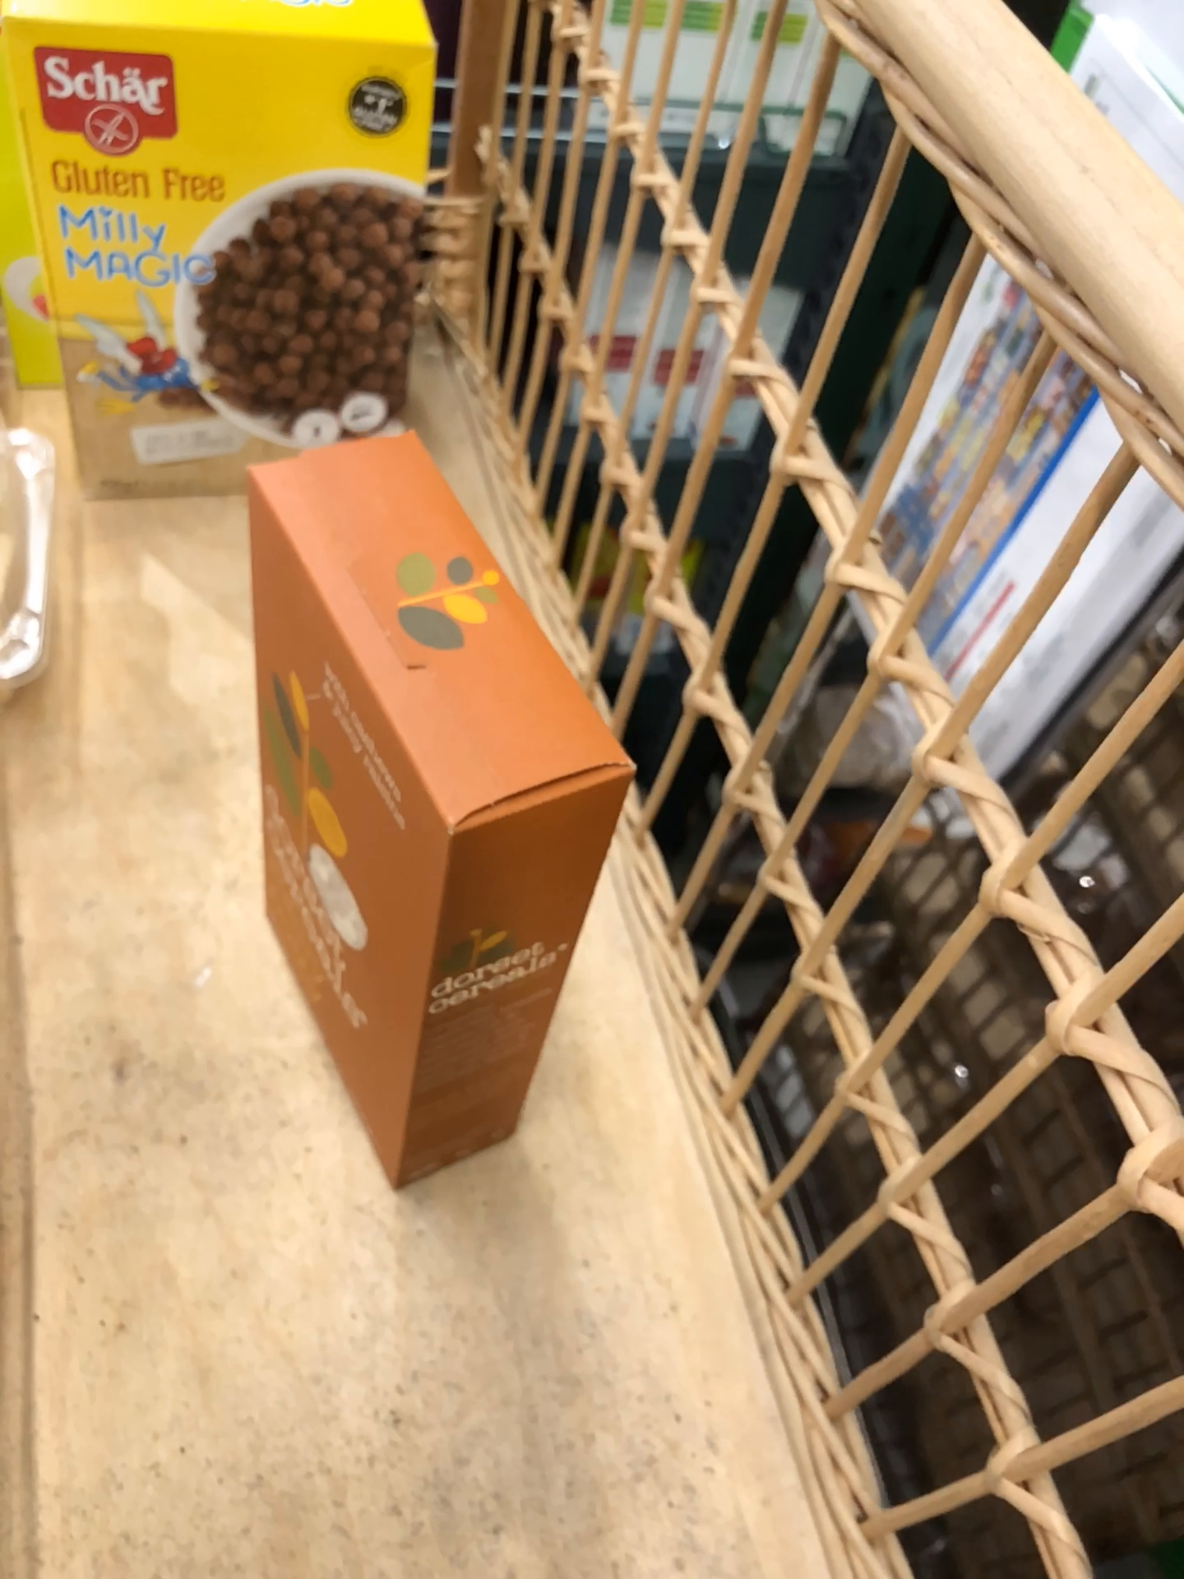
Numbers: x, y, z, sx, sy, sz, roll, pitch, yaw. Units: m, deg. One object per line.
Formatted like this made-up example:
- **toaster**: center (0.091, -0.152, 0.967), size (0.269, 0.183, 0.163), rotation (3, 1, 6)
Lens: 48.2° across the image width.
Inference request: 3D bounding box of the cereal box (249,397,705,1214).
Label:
- **cereal box**: center (-0.048, 0.018, 0.380), size (0.050, 0.209, 0.130), rotation (-19, 61, -25)
